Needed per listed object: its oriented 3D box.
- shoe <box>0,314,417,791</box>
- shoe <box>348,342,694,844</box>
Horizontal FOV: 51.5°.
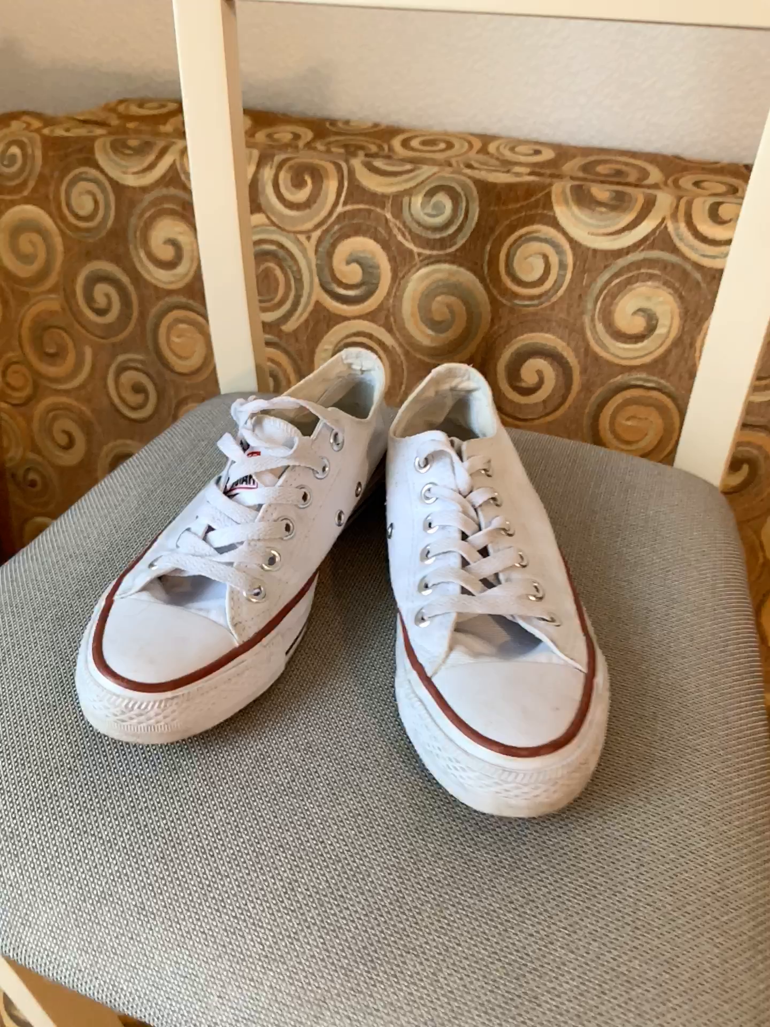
[{"bbox_3d":[-0.065,-0.001,0.364,0.090,0.060,0.221,15,48,16],"label":"shoe"},{"bbox_3d":[0.040,0.016,0.348,0.090,0.060,0.221,-6,45,-4],"label":"shoe"}]
